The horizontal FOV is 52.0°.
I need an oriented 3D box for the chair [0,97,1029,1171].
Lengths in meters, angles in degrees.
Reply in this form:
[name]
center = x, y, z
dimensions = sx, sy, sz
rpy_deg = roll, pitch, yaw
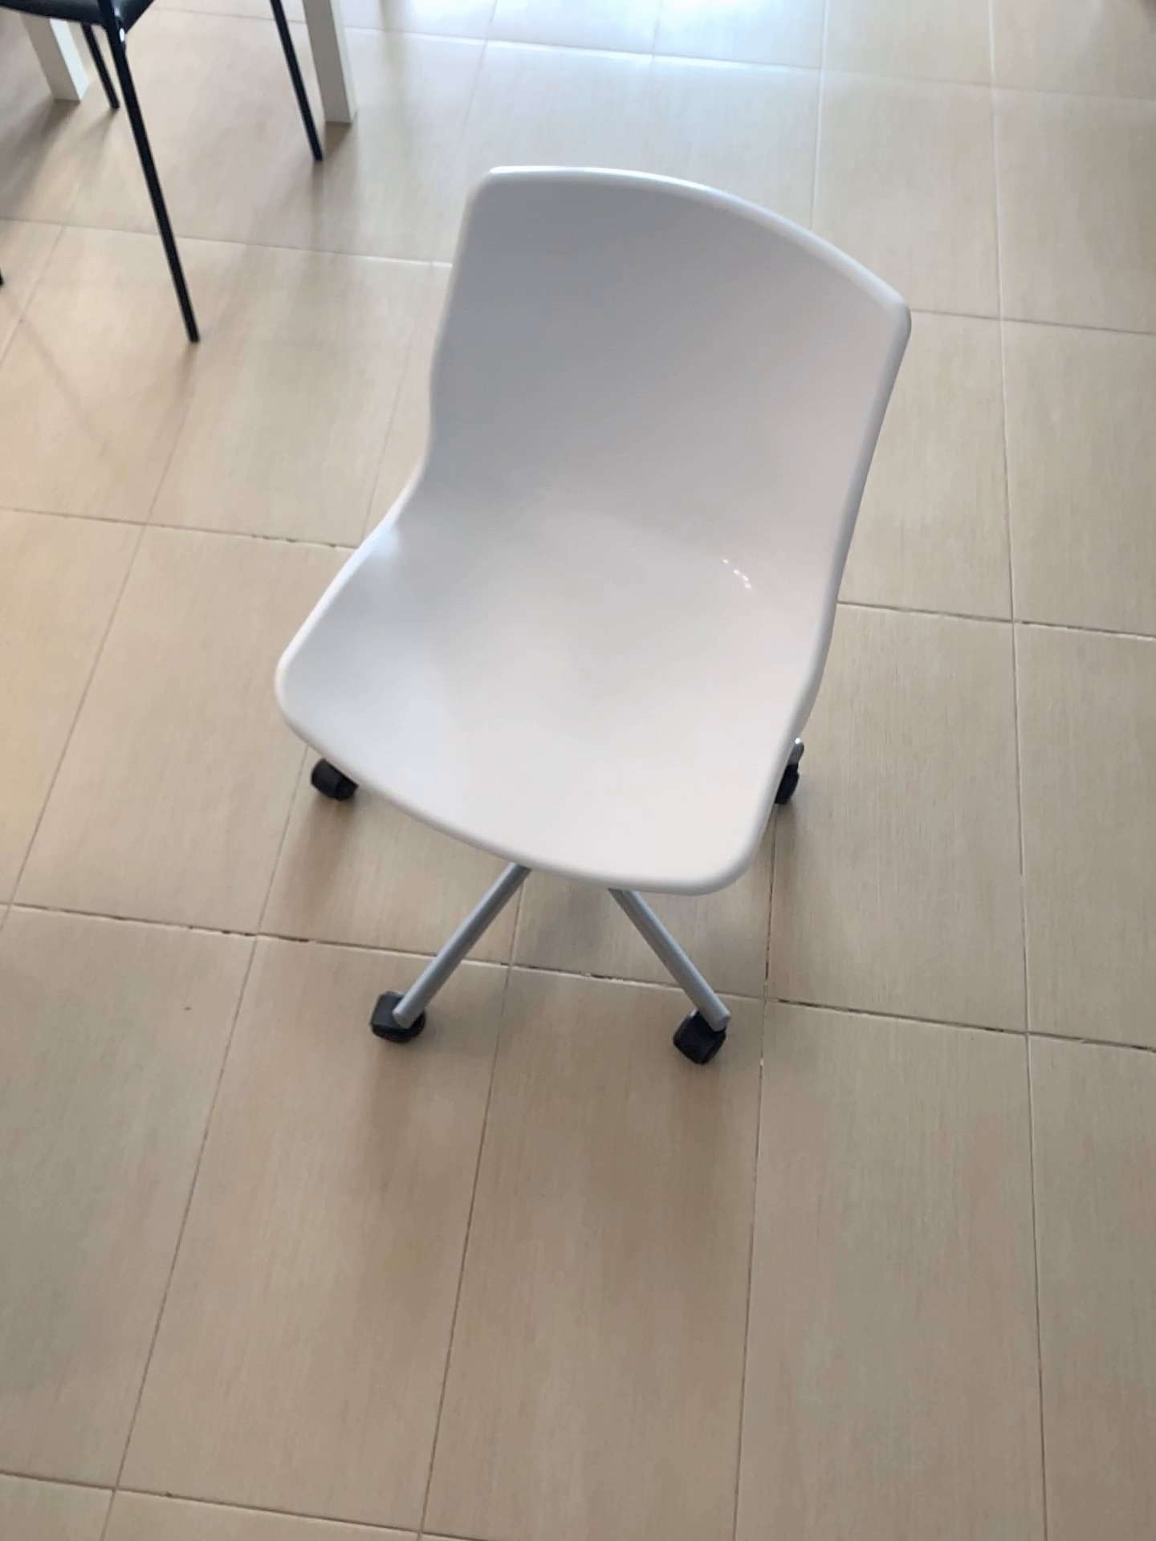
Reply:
[chair]
center = -0.020, -0.111, 1.285
dimensions = 0.641, 0.648, 0.781
rpy_deg = 19, 65, 8
